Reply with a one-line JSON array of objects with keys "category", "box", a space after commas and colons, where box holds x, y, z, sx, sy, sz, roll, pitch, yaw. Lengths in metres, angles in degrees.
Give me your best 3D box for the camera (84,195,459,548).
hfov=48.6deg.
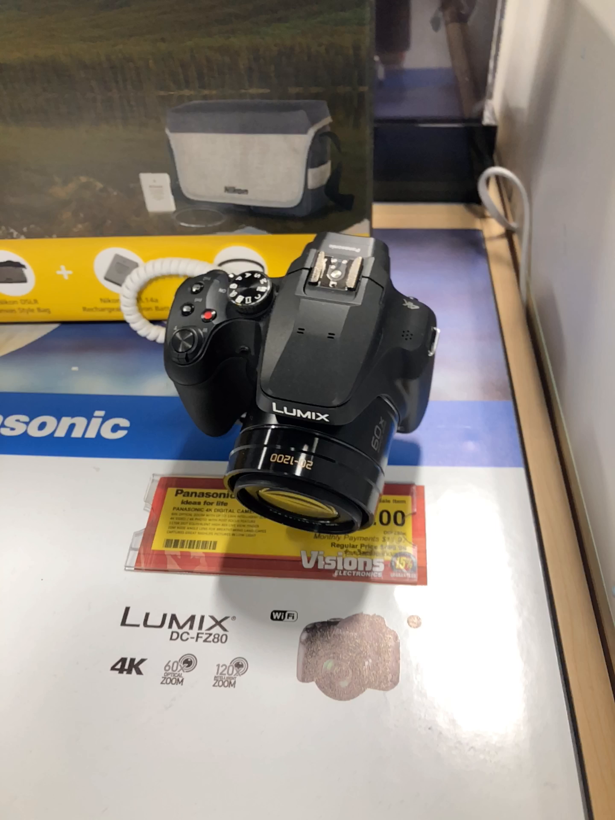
[{"category": "camera", "box": [-0.005, -0.016, 0.298, 0.120, 0.099, 0.101, 9, 60, 12]}]
